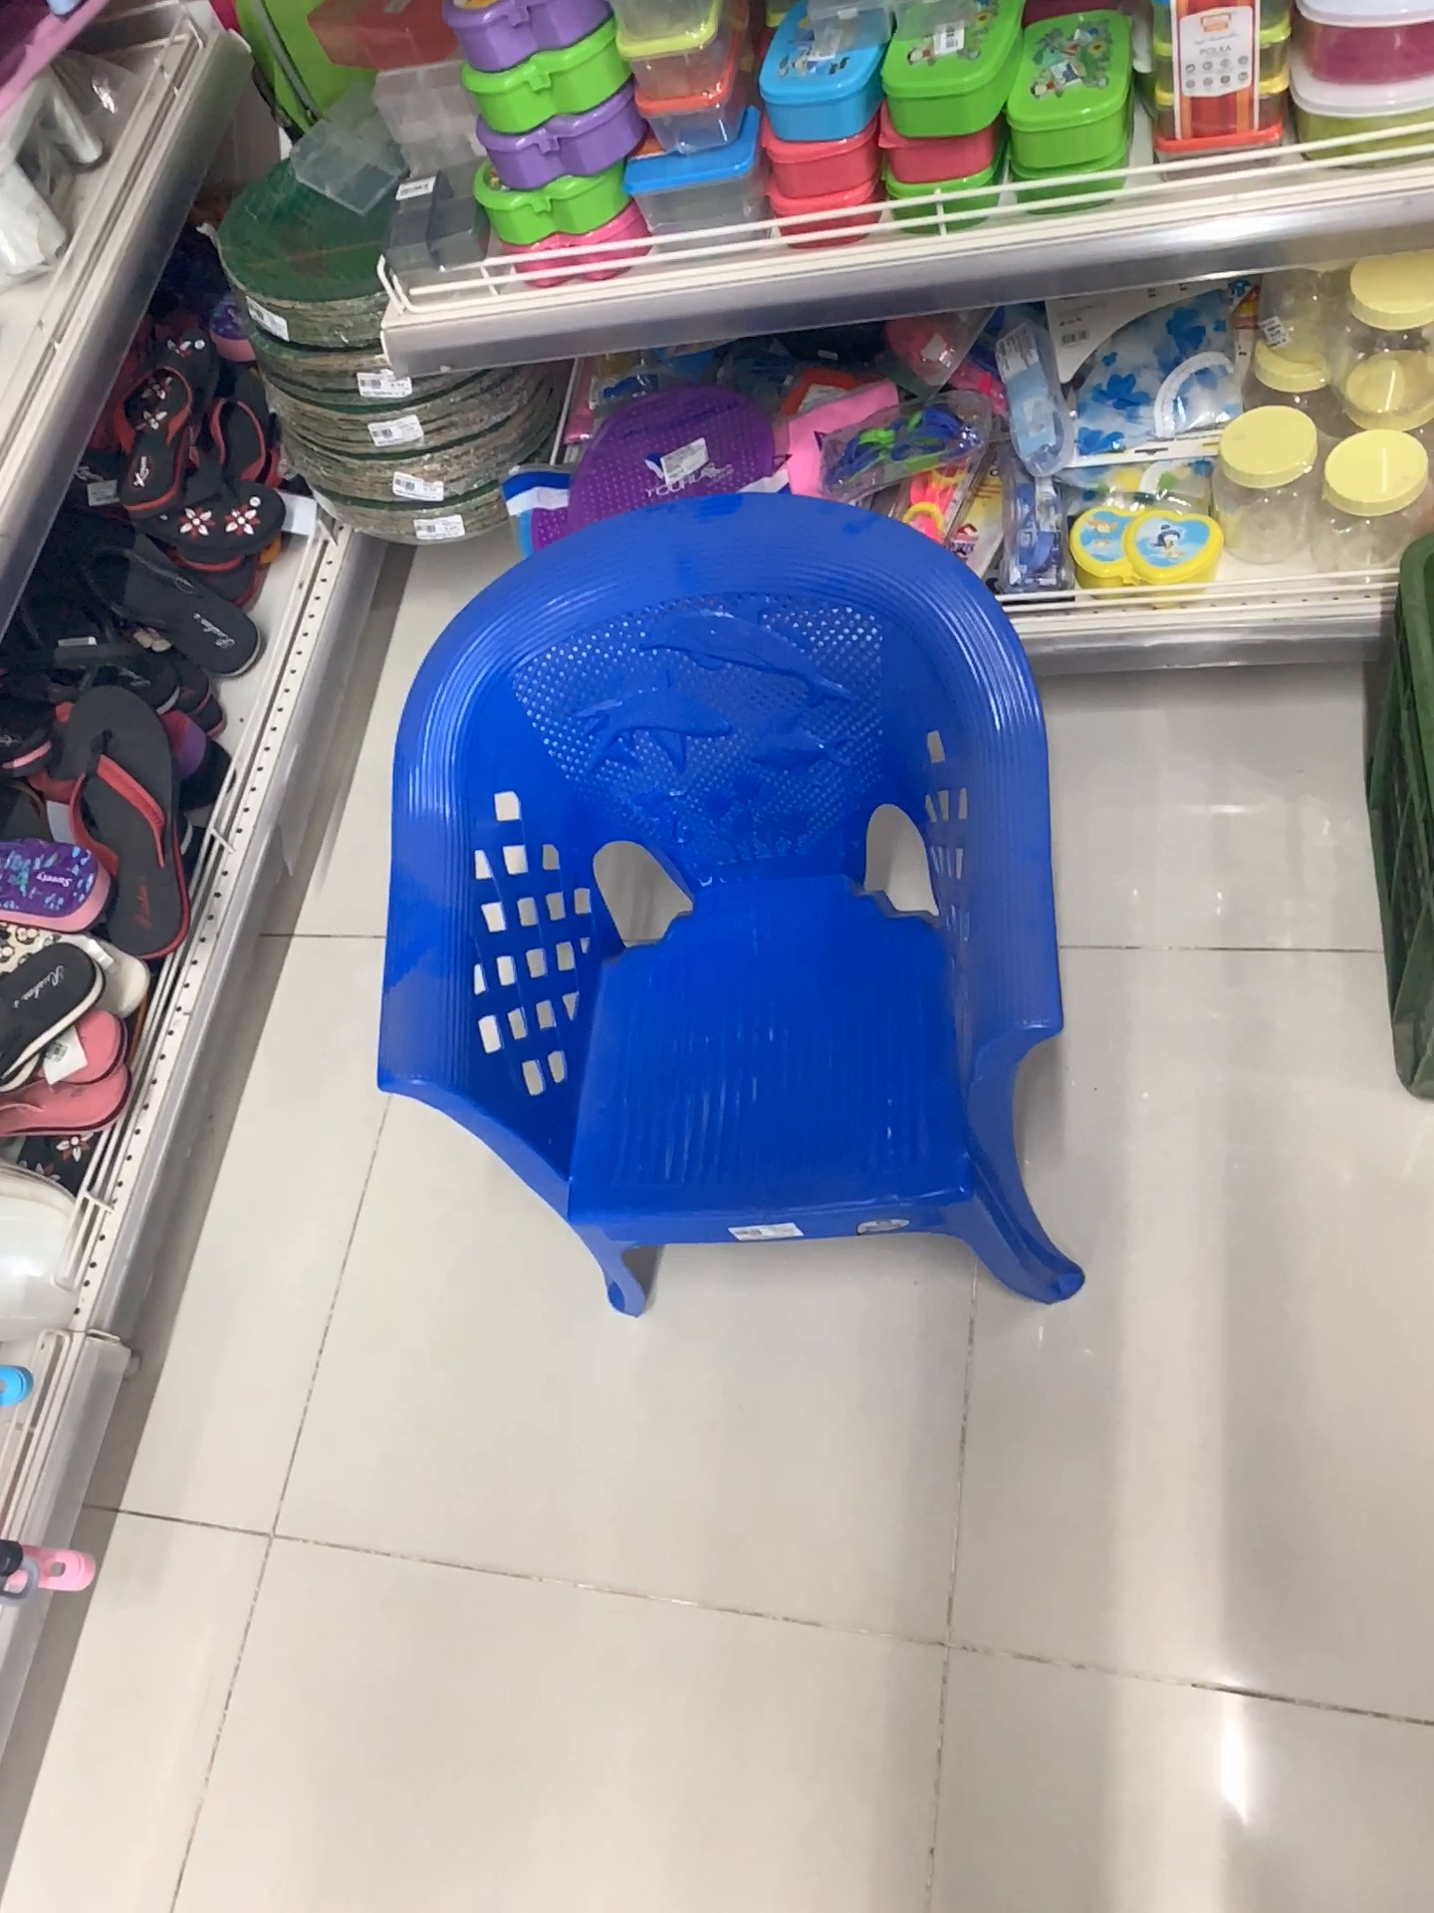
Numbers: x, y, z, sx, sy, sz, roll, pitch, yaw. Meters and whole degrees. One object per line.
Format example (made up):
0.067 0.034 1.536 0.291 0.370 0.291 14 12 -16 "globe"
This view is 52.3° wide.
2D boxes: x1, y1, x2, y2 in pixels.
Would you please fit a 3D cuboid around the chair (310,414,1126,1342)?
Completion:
0.047 -0.010 1.056 0.421 0.469 0.451 -6 61 15 "chair"
